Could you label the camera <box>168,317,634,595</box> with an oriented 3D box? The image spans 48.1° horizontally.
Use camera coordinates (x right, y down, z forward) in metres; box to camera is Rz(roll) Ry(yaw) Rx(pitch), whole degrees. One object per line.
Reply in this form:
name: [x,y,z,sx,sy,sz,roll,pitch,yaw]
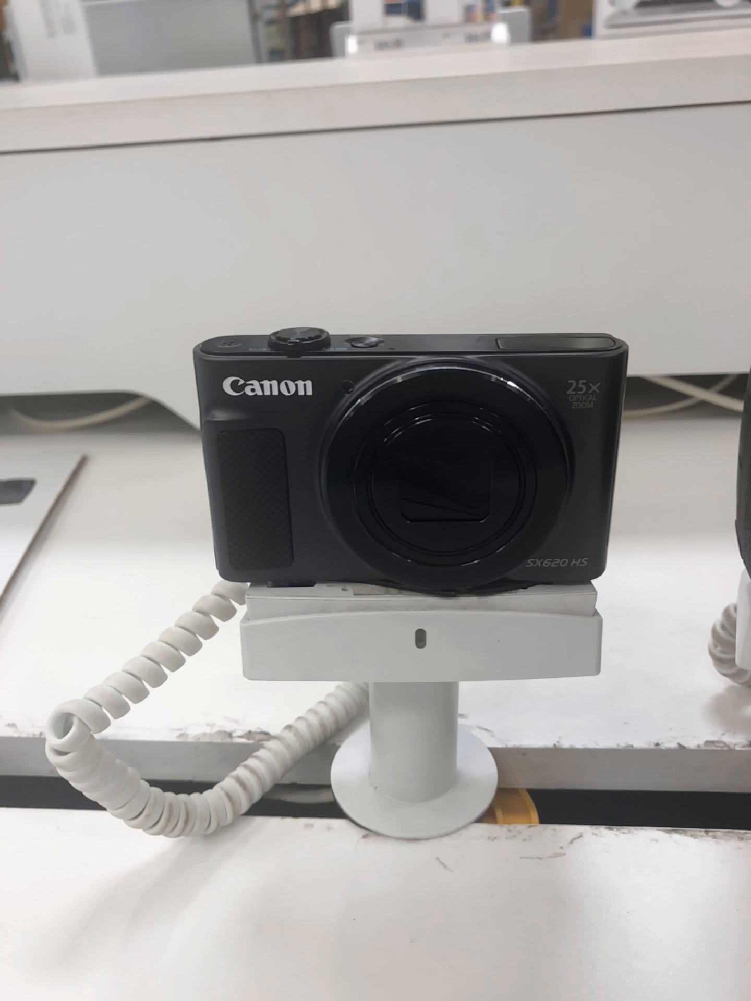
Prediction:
camera: [0.006,-0.009,0.193,0.093,0.057,0.025,0,28,3]
